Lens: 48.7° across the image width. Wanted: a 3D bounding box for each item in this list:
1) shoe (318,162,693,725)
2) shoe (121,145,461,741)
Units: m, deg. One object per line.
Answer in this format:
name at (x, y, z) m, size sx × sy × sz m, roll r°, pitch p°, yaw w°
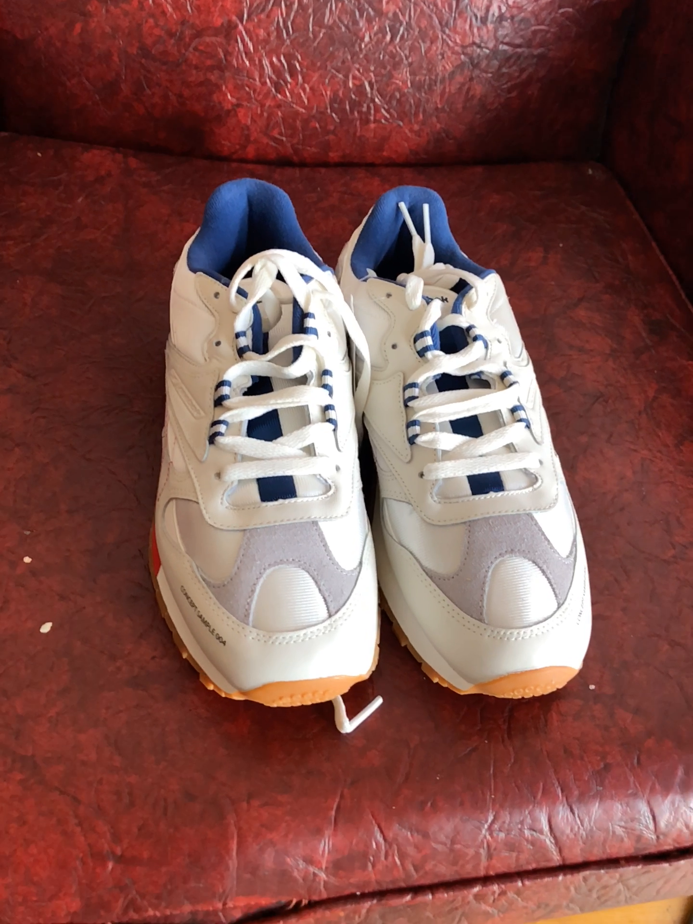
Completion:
shoe at (0.065, -0.025, 0.389) m, size 0.110 × 0.099 × 0.272 m, roll -4°, pitch 57°, yaw -12°
shoe at (-0.044, -0.026, 0.368) m, size 0.110 × 0.099 × 0.272 m, roll -4°, pitch 57°, yaw -12°
